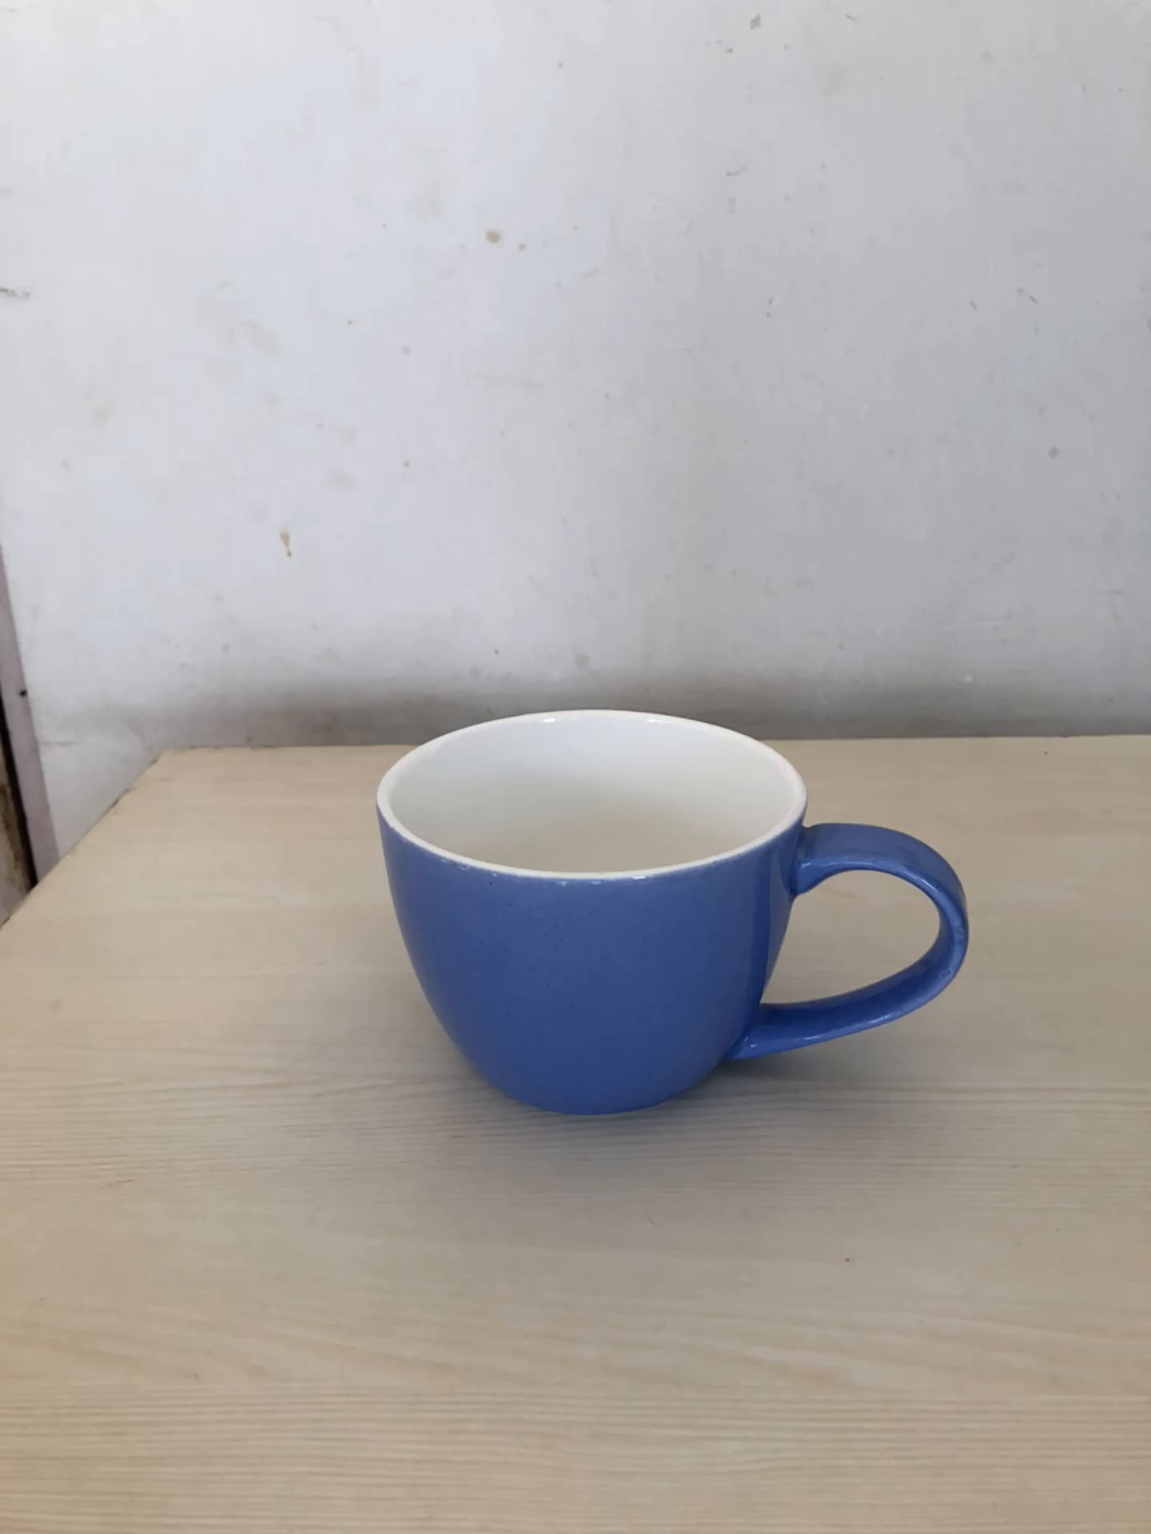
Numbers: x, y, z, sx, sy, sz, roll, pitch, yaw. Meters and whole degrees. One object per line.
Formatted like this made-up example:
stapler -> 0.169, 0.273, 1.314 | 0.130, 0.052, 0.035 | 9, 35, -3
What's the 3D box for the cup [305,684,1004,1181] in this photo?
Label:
cup -> 0.026, 0.032, 0.325 | 0.150, 0.070, 0.101 | 5, 22, 15
